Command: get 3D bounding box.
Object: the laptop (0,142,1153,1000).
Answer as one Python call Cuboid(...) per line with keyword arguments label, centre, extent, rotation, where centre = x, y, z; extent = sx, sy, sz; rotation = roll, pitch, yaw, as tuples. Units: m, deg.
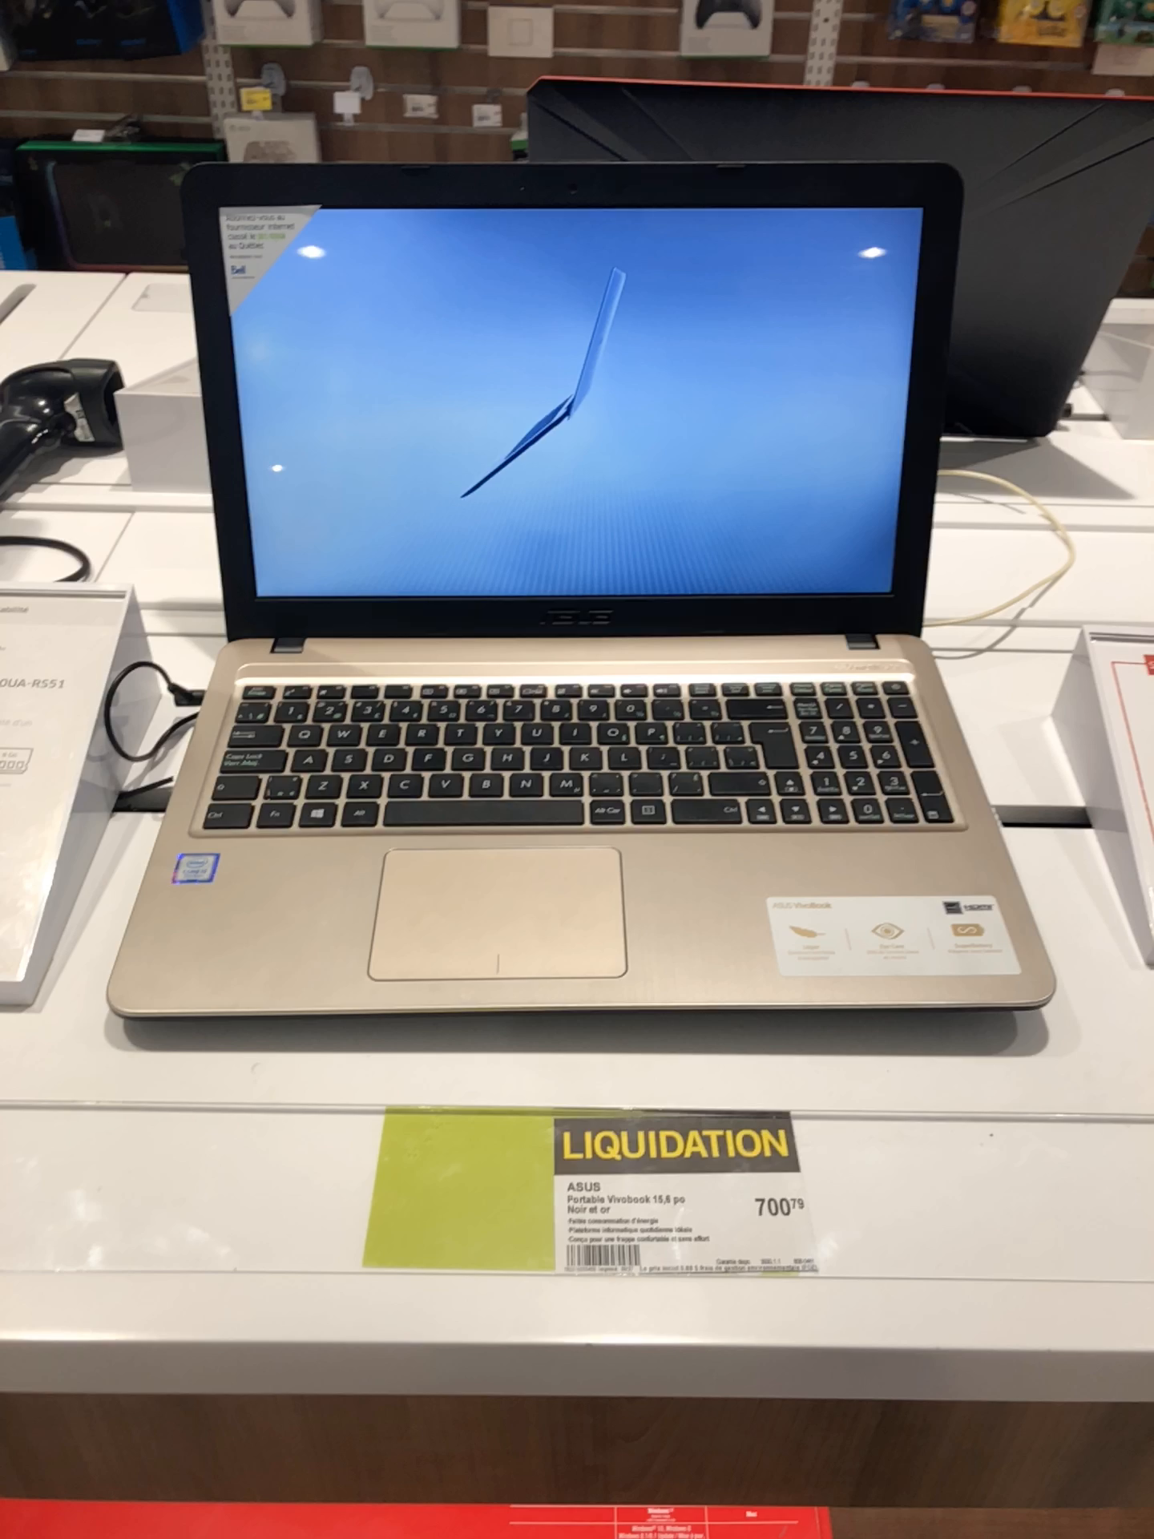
Cuboid(label="laptop", centre=(0.003, -0.106, 0.565), extent=(0.370, 0.204, 0.339), rotation=(0, 43, -2))
